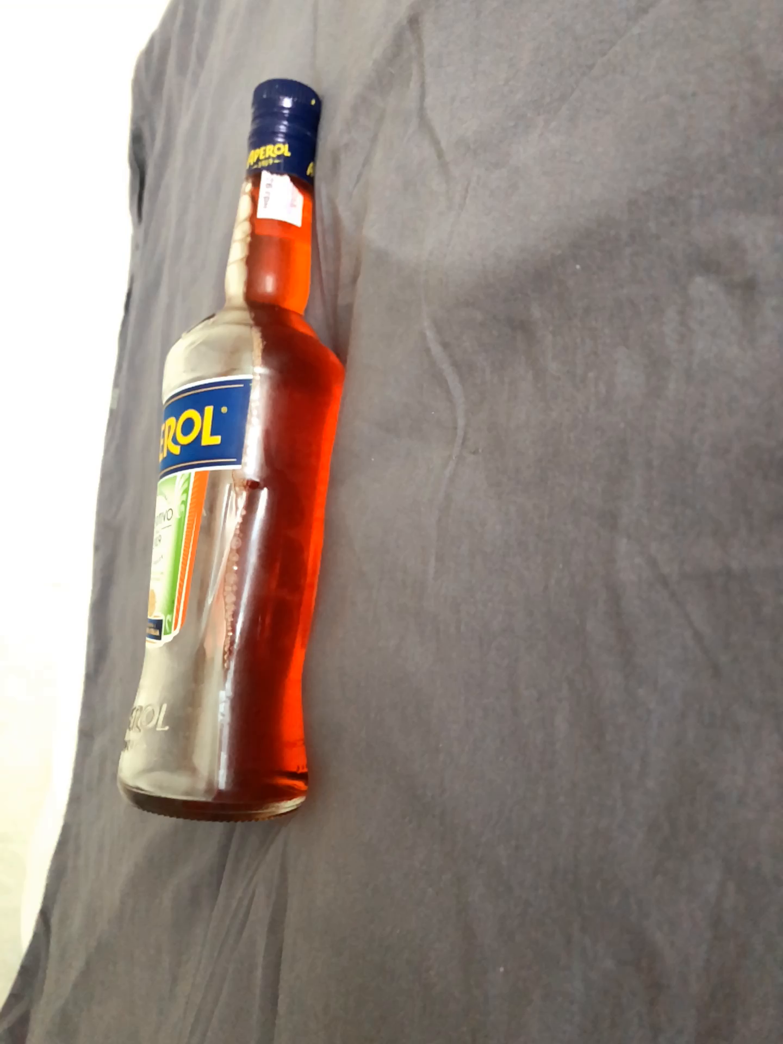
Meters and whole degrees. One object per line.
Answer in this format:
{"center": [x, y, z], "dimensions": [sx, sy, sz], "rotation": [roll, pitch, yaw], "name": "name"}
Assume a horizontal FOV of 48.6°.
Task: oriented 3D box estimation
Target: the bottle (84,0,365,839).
{"center": [-0.075, -0.044, 0.371], "dimensions": [0.100, 0.070, 0.320], "rotation": [173, 102, -66], "name": "bottle"}
